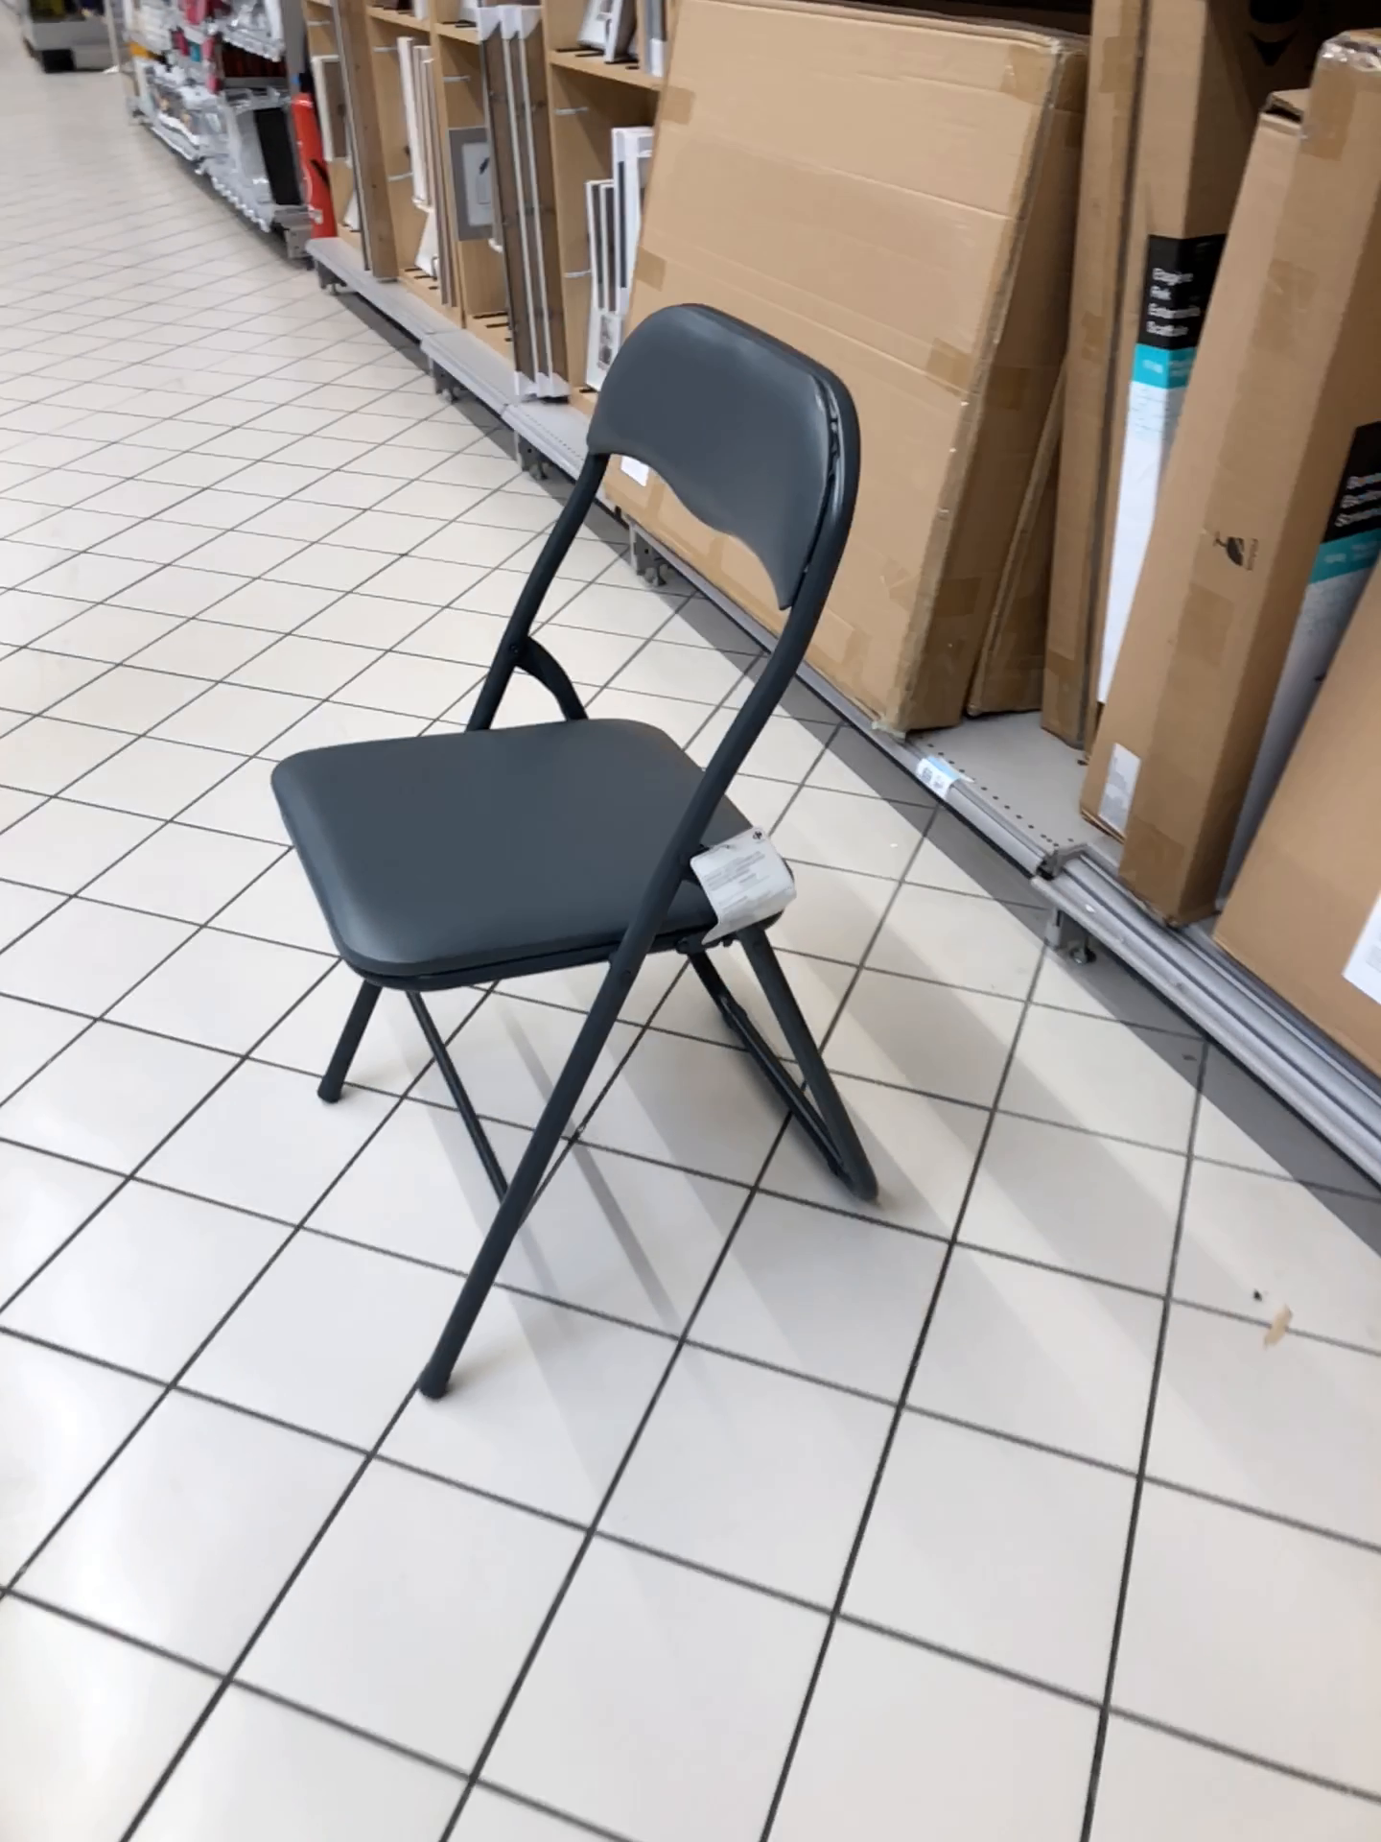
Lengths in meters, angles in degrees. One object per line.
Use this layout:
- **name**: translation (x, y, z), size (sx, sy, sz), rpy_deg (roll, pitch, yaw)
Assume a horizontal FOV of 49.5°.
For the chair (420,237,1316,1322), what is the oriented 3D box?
- **chair**: translation (0.087, -0.155, 1.386), size (0.501, 0.755, 0.552), rpy_deg (-11, 38, -19)
